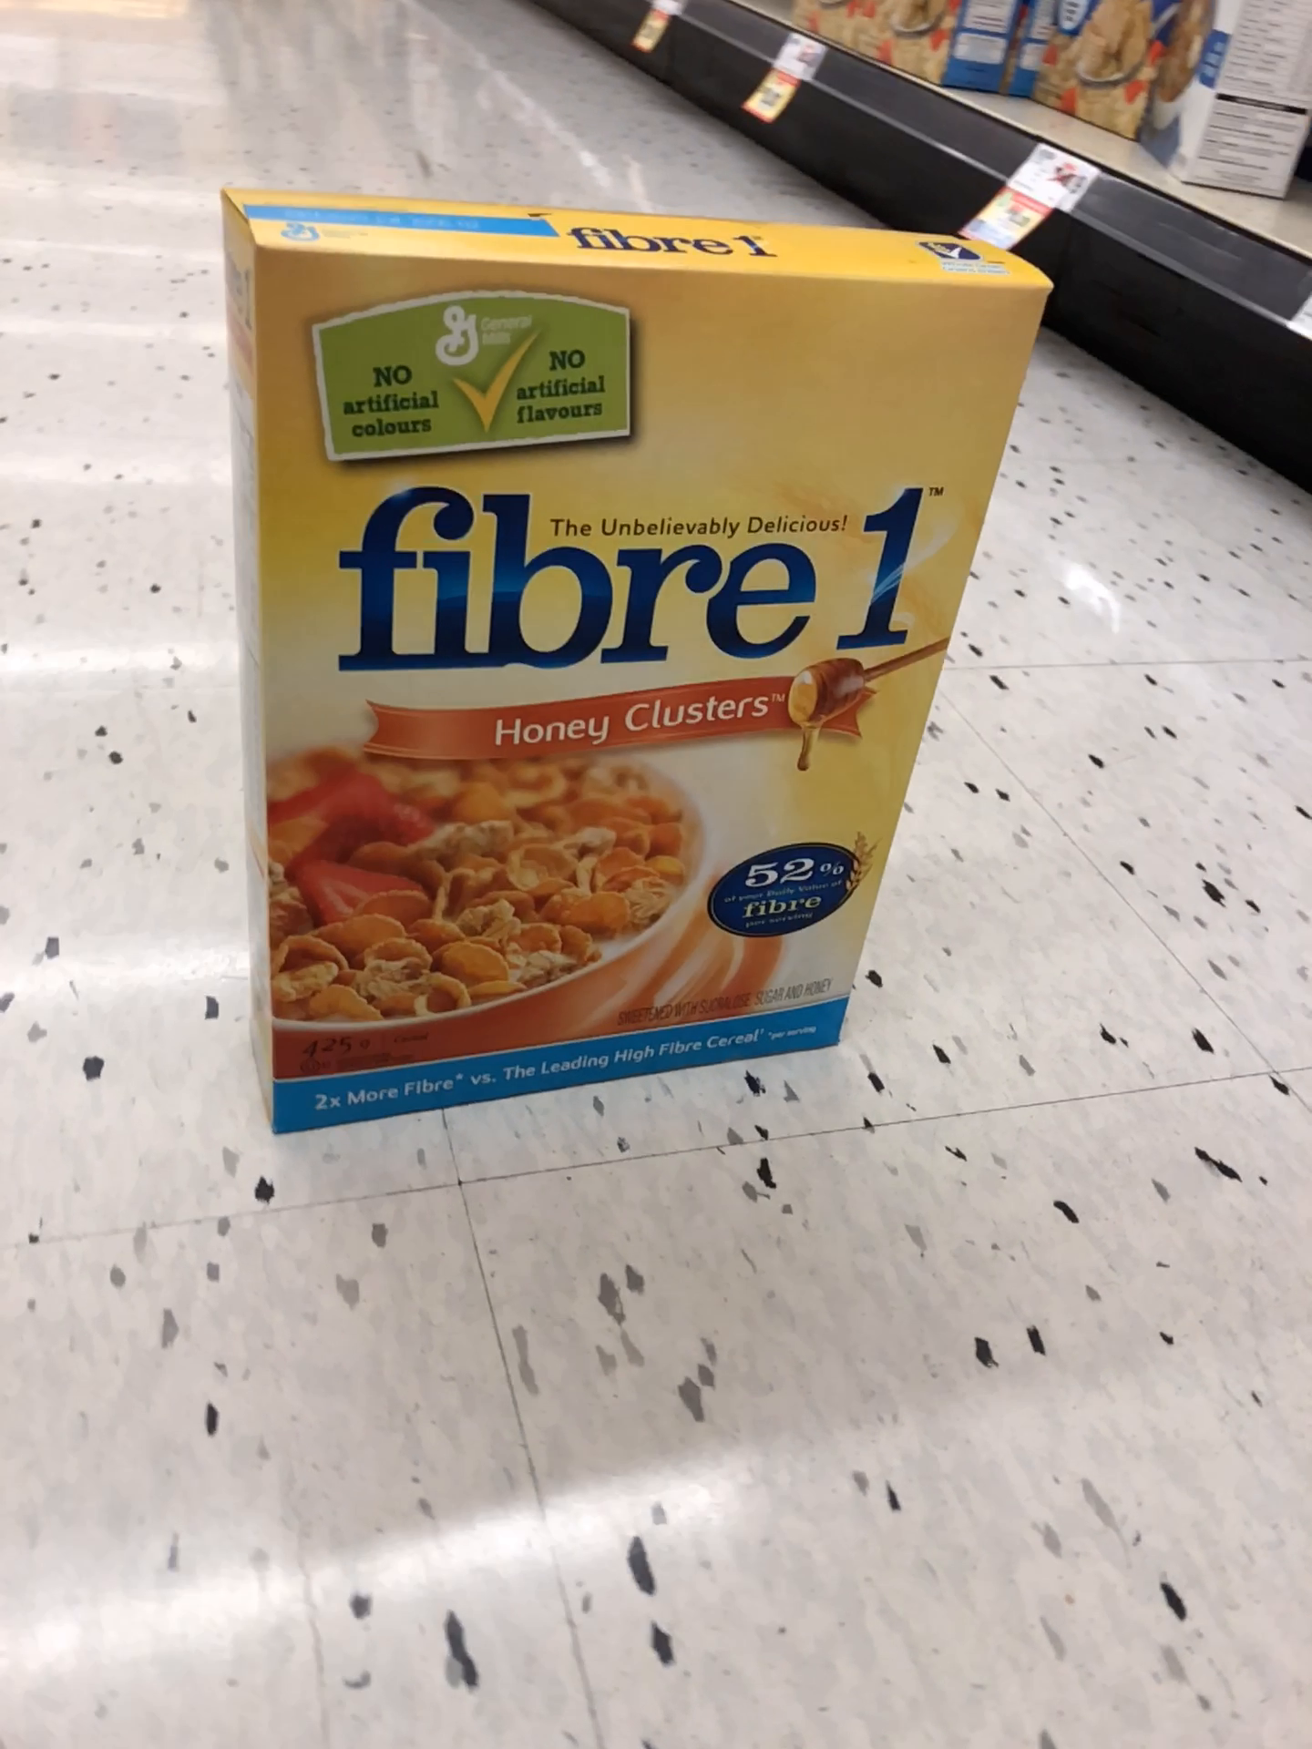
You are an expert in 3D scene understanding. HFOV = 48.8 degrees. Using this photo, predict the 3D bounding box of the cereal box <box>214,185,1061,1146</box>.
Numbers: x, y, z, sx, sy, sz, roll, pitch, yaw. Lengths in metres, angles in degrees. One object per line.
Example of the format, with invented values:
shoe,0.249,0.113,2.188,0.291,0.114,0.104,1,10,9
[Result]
cereal box,-0.017,-0.045,0.403,0.190,0.248,0.050,-6,38,-21
